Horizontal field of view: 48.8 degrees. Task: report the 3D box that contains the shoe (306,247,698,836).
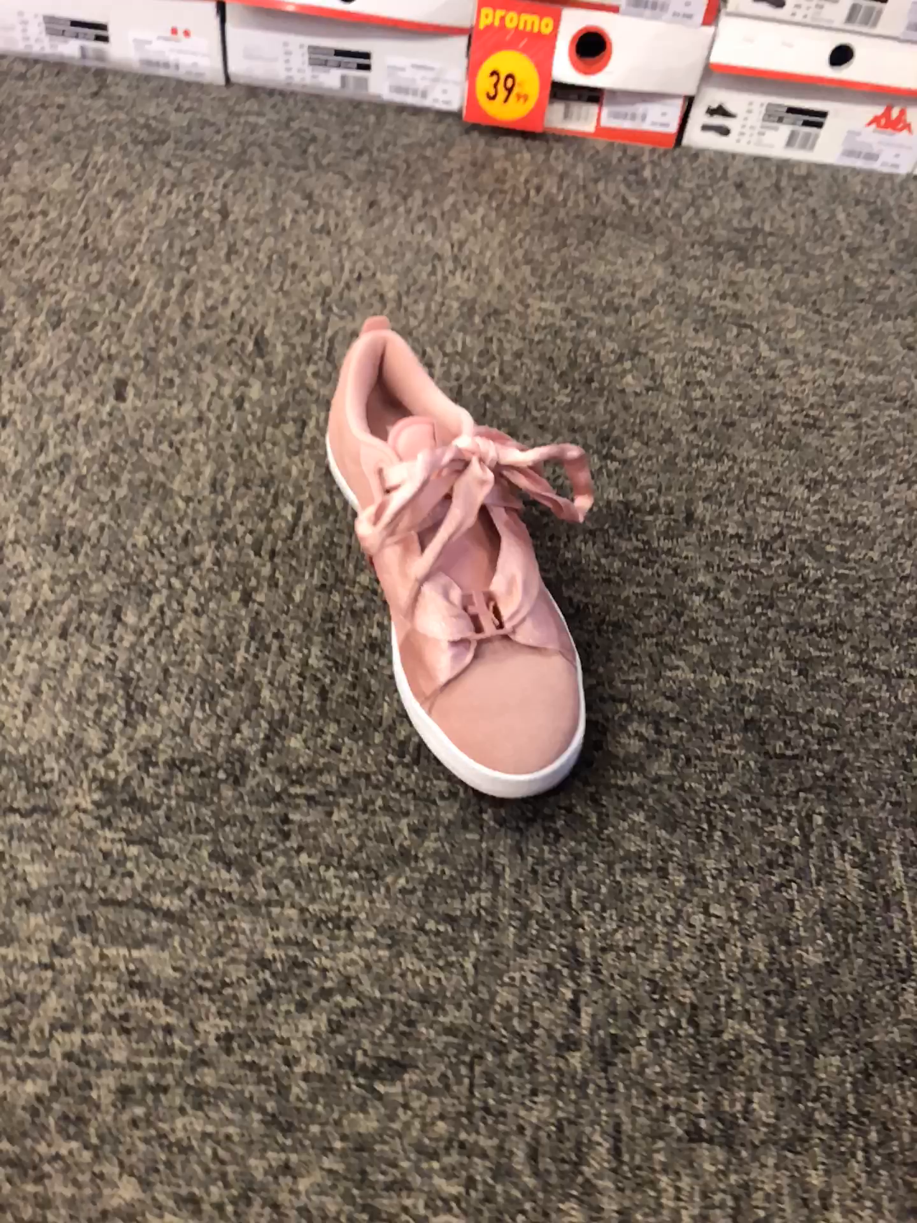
[{"bbox_3d":[0.004,-0.042,0.494,0.100,0.100,0.263,-11,63,-15],"label":"shoe"}]
